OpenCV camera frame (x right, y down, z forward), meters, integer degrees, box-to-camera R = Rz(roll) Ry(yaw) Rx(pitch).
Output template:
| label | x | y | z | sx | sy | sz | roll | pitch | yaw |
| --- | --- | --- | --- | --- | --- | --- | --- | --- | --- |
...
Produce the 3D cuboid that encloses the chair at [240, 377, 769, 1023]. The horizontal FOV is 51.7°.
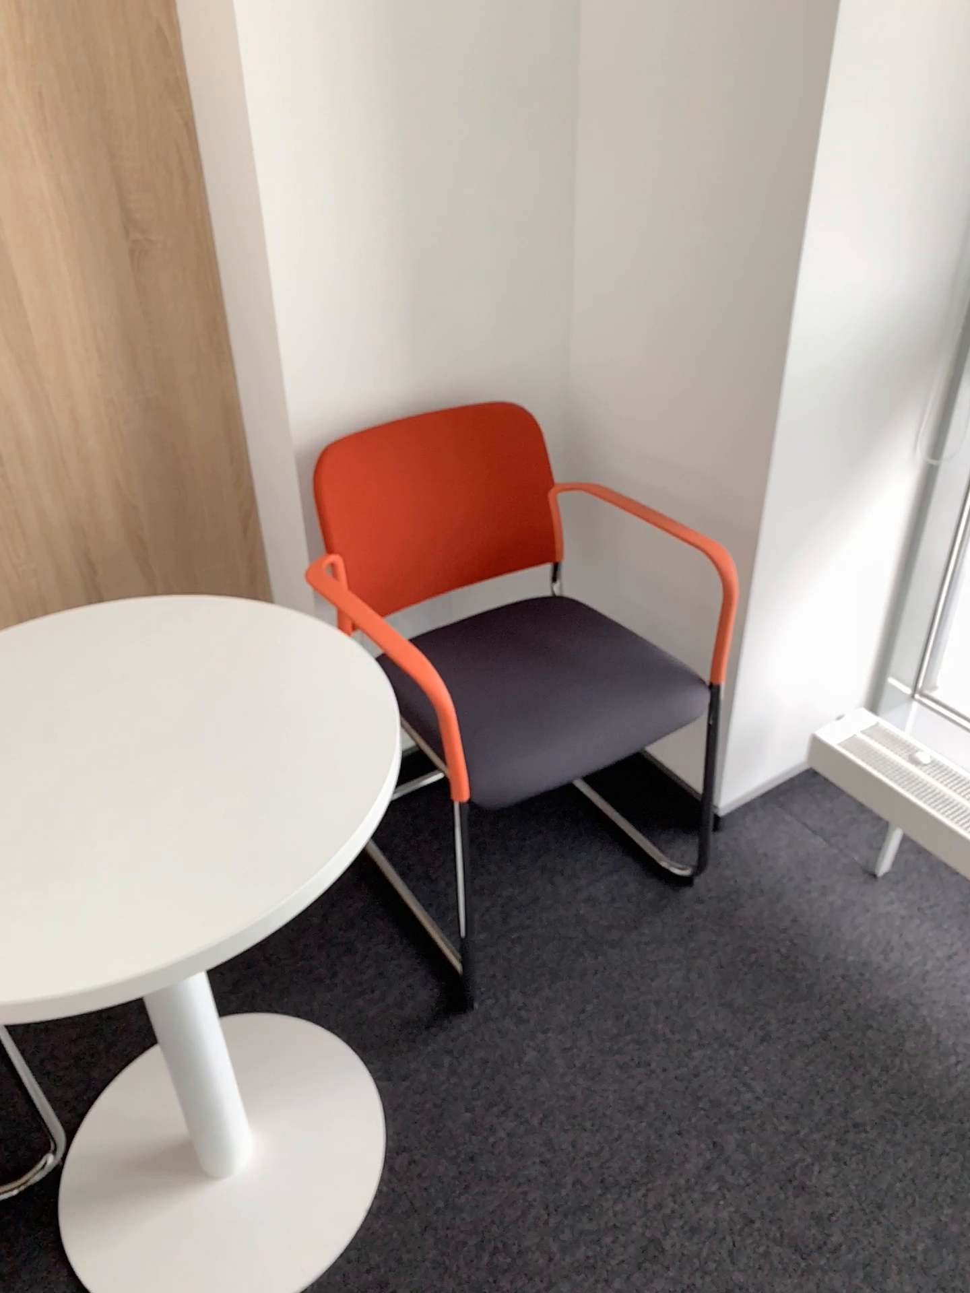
| label | x | y | z | sx | sy | sz | roll | pitch | yaw |
| --- | --- | --- | --- | --- | --- | --- | --- | --- | --- |
| chair | 0.017 | 0.055 | 1.696 | 0.571 | 0.775 | 0.562 | -20 | 38 | -26 |
